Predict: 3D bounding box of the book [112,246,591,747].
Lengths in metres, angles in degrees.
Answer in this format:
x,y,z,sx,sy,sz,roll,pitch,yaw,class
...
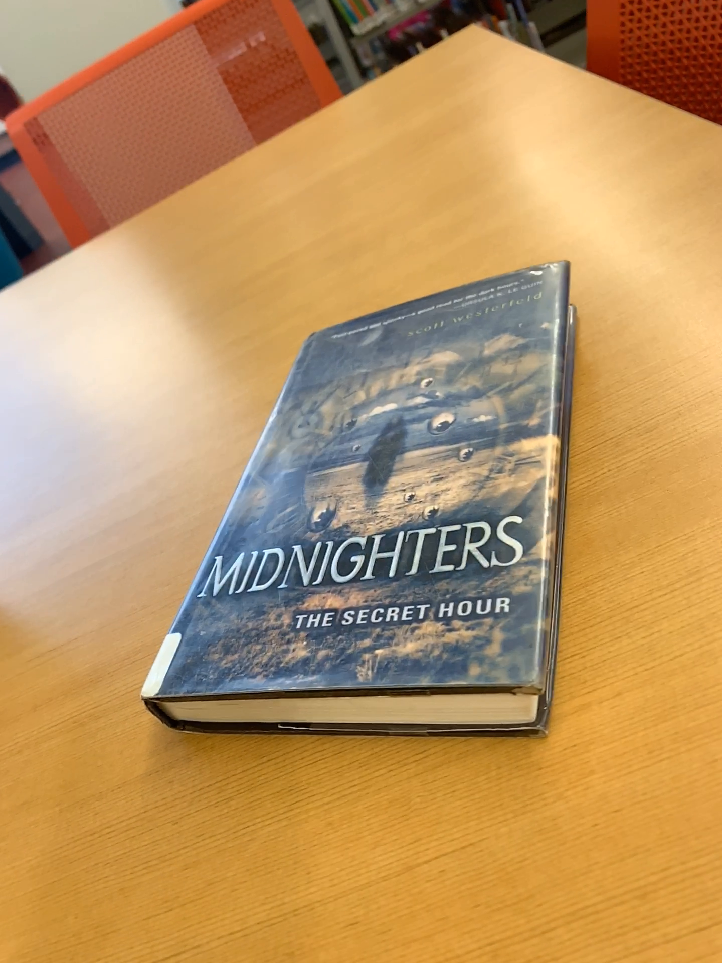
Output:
x,y,z,sx,sy,sz,roll,pitch,yaw,class
0.011,-0.003,0.309,0.151,0.040,0.215,-10,42,27,book
